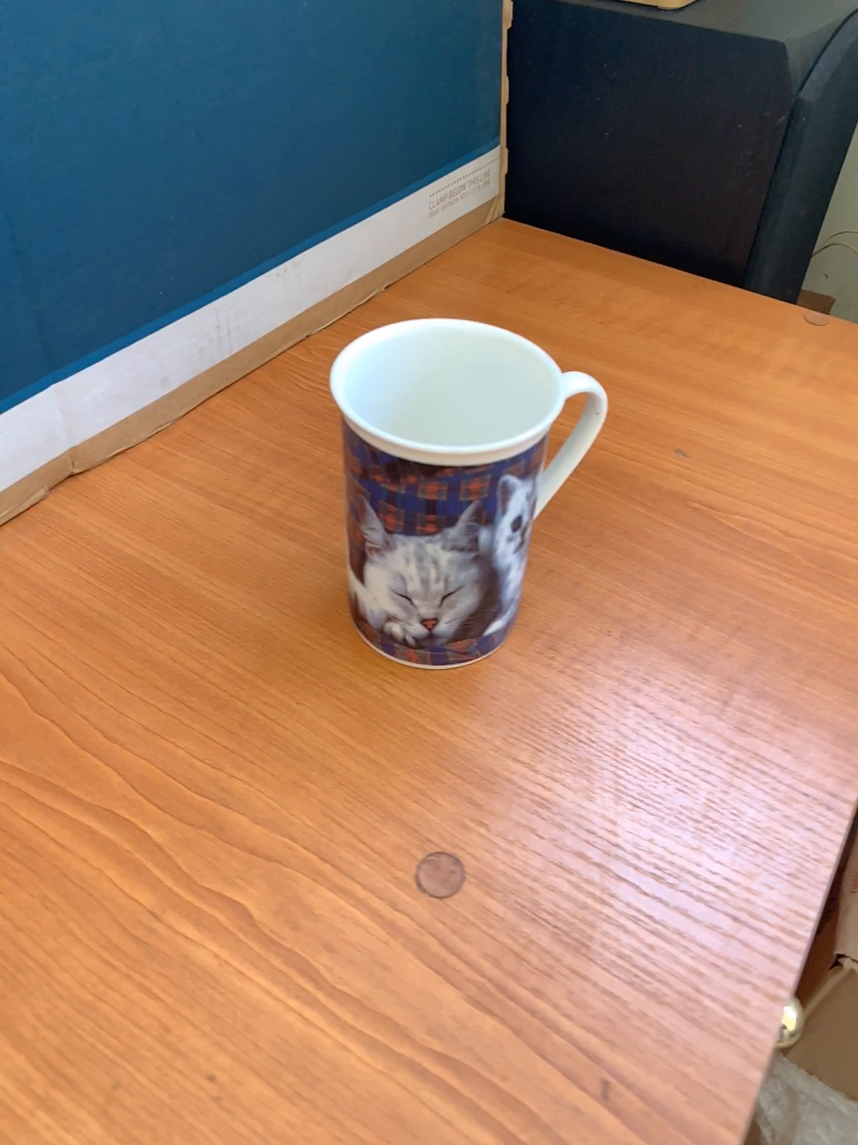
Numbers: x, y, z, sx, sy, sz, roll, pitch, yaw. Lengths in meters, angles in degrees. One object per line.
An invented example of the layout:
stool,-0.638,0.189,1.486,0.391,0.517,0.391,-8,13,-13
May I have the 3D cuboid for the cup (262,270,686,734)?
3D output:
cup,0.015,-0.028,0.311,0.080,0.100,0.110,34,53,29
